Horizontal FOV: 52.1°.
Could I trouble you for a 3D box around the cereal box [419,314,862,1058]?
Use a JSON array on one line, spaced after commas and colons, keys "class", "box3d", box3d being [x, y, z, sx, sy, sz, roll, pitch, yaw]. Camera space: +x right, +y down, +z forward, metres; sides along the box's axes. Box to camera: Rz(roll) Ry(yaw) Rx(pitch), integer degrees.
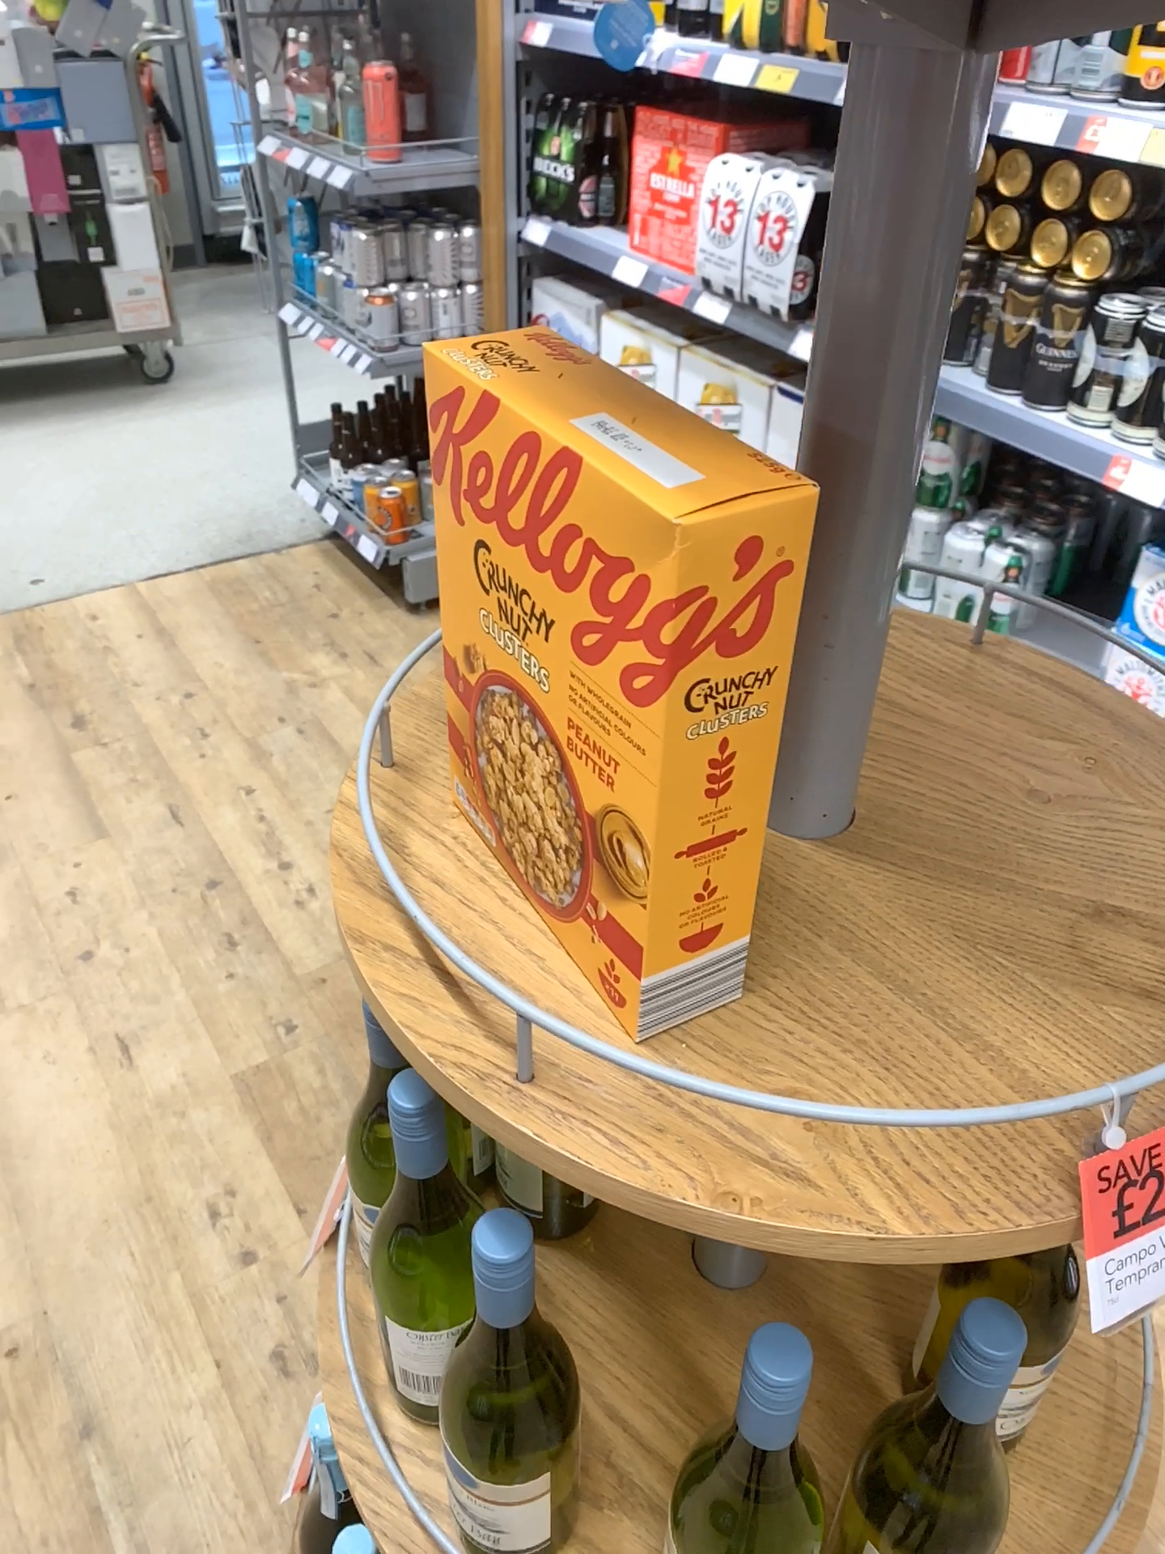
[{"class": "cereal box", "box3d": [0.008, -0.044, 0.509, 0.060, 0.238, 0.212, -18, 40, -24]}]
